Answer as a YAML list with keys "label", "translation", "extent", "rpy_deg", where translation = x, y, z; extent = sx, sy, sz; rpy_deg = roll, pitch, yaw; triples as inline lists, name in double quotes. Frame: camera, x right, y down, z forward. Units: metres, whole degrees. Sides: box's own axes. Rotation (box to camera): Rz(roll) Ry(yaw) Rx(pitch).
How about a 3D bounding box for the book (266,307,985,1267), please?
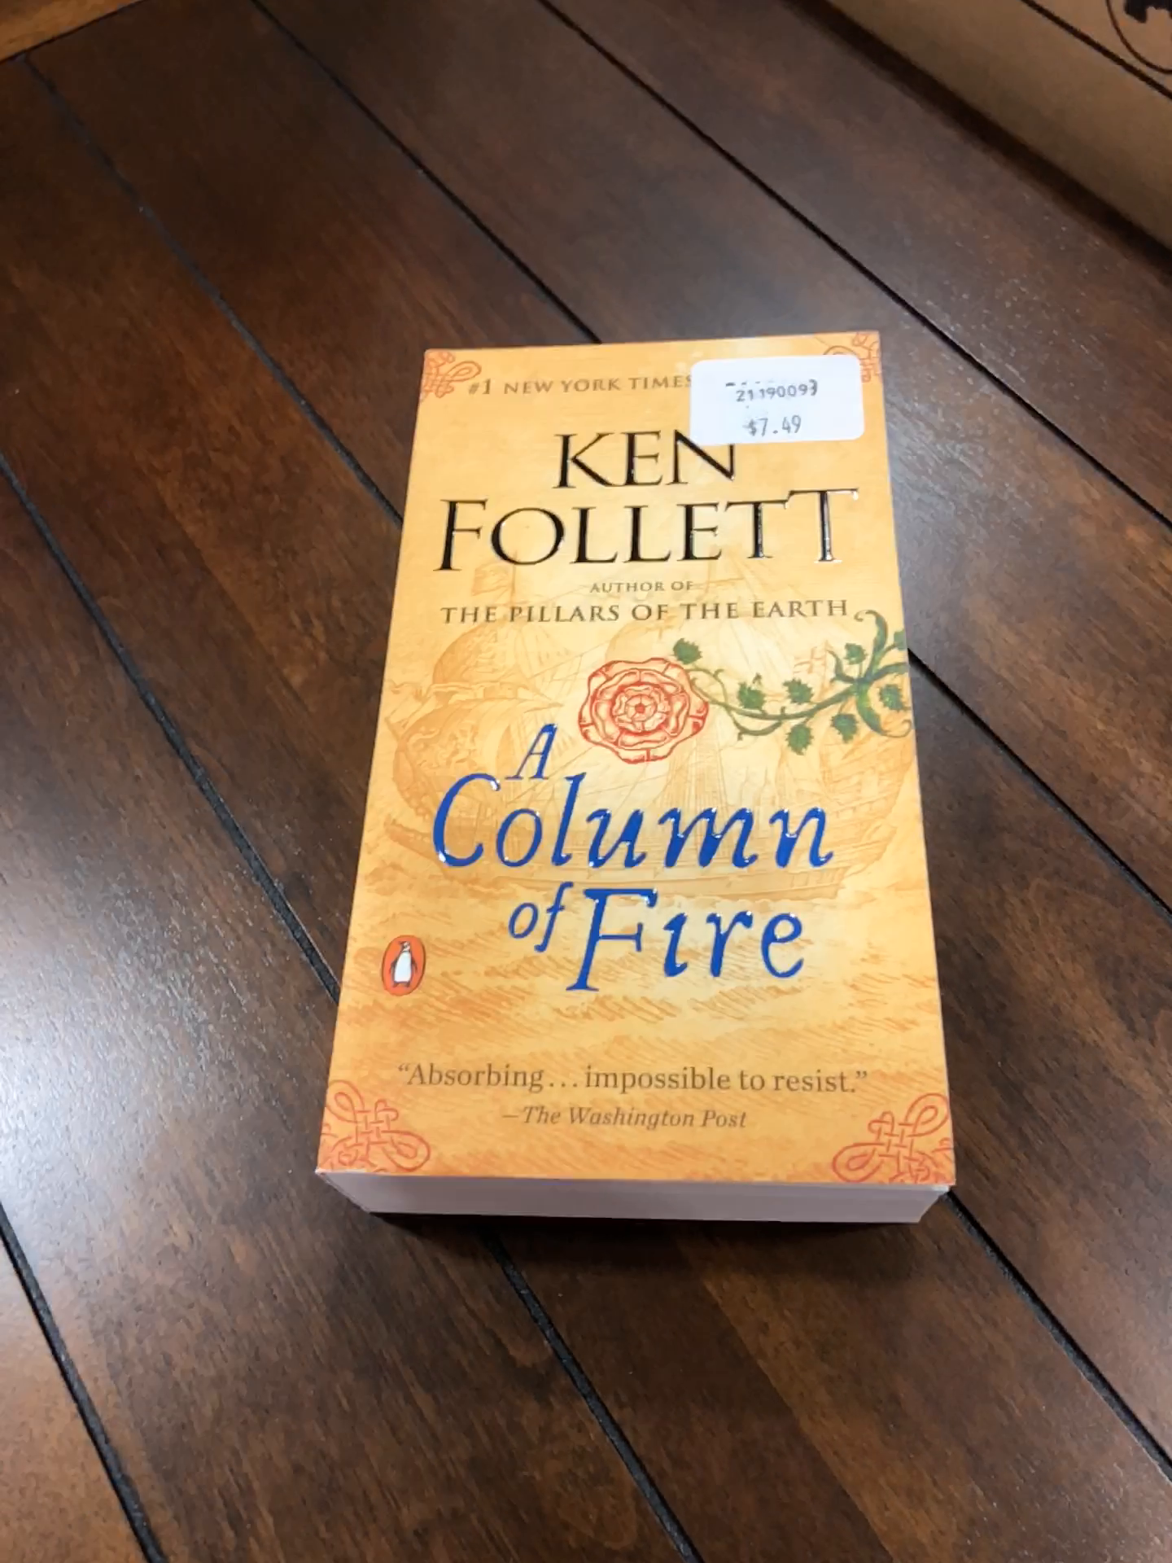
- label: "book"
  translation: [0.010, -0.010, 0.264]
  extent: [0.110, 0.040, 0.195]
  rpy_deg: [0, 62, 4]
